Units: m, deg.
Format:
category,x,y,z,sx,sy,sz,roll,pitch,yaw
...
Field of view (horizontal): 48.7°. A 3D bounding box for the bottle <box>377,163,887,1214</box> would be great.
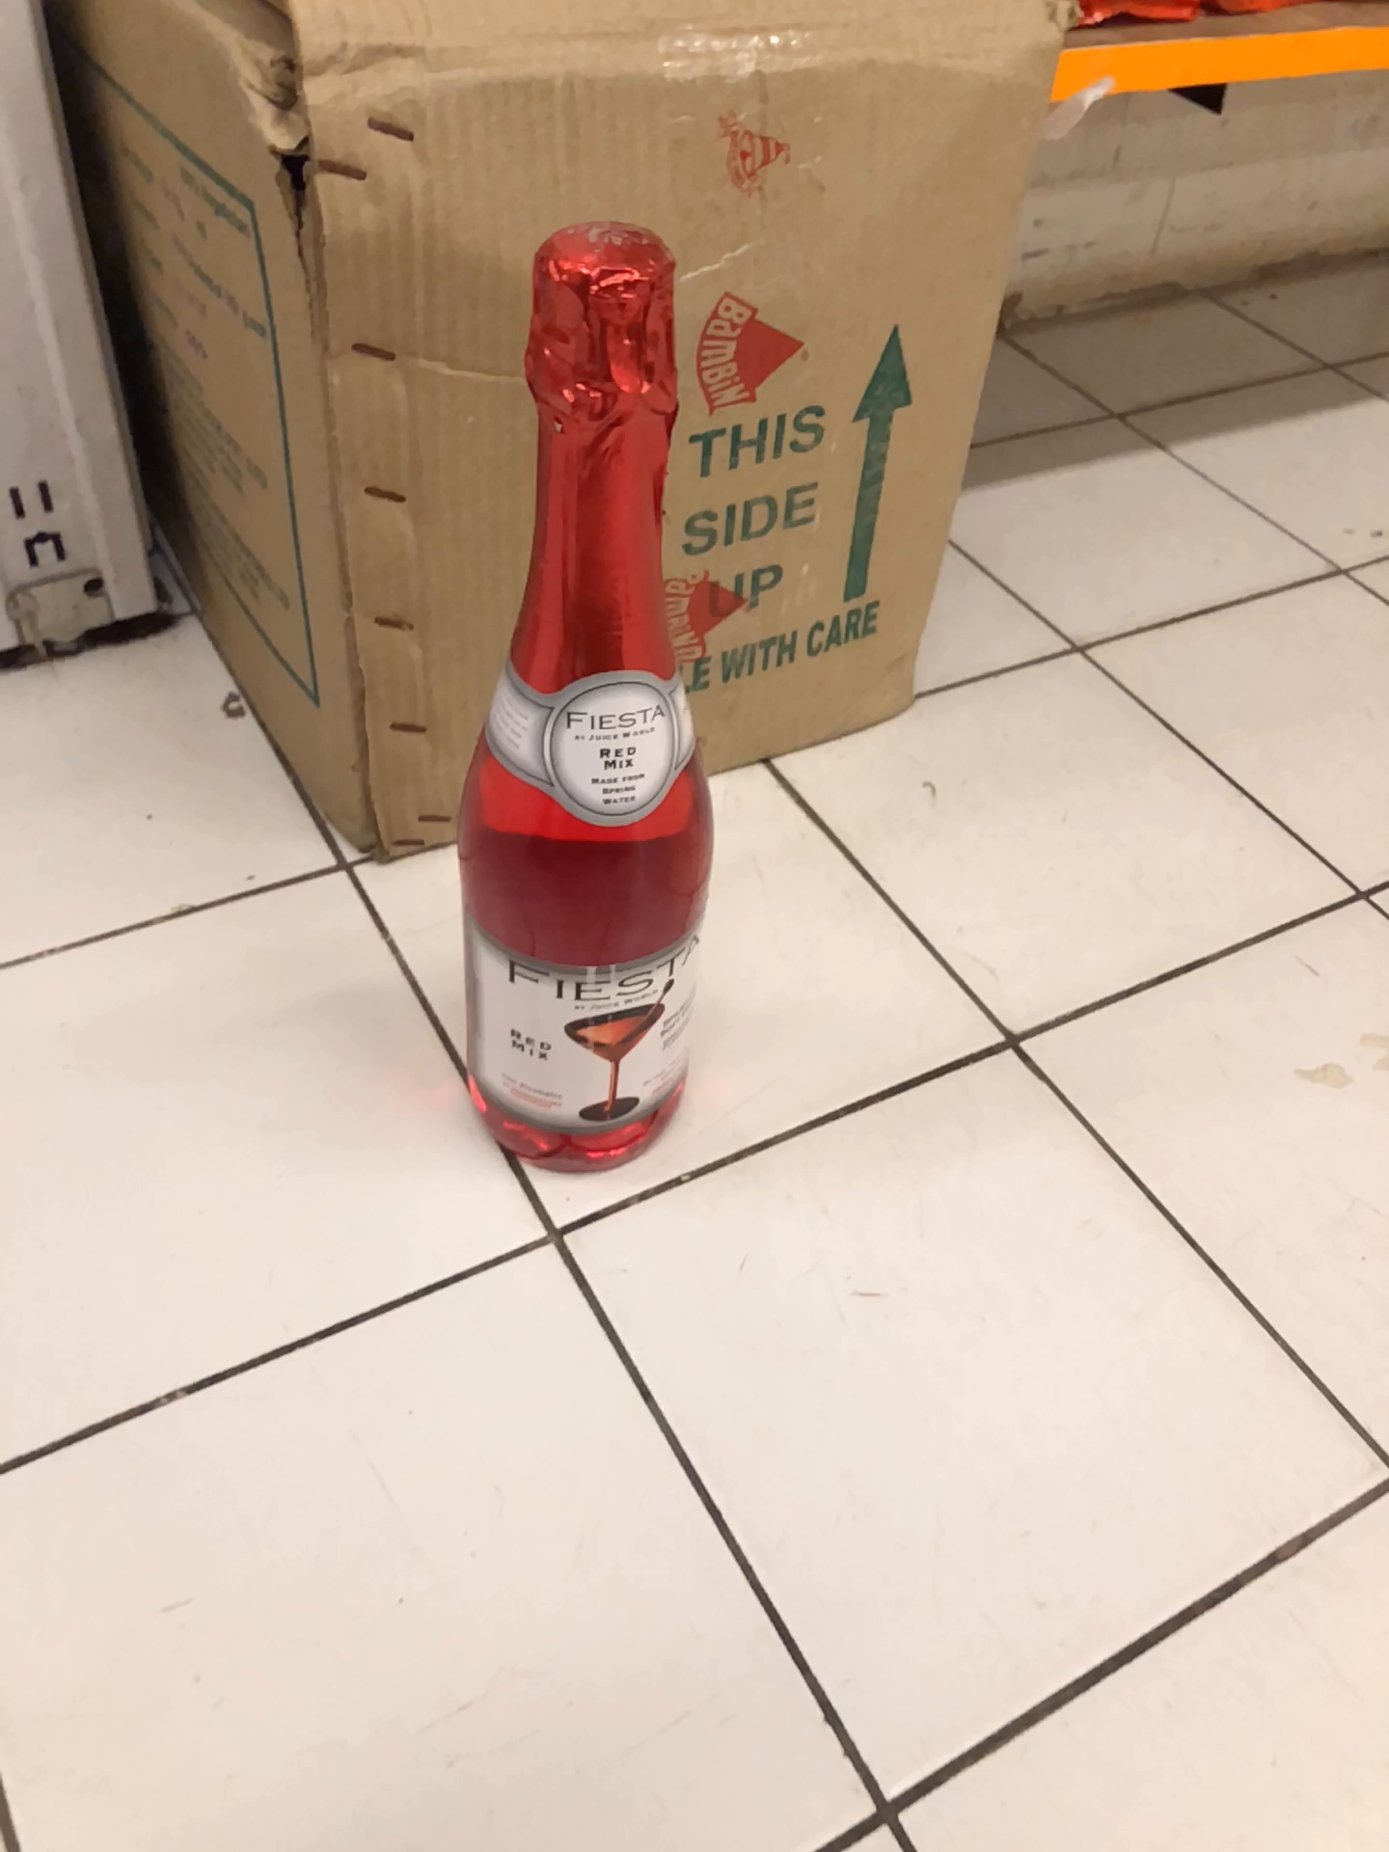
category,x,y,z,sx,sy,sz,roll,pitch,yaw
bottle,-0.028,-0.047,0.446,0.090,0.298,0.080,-14,48,-20
